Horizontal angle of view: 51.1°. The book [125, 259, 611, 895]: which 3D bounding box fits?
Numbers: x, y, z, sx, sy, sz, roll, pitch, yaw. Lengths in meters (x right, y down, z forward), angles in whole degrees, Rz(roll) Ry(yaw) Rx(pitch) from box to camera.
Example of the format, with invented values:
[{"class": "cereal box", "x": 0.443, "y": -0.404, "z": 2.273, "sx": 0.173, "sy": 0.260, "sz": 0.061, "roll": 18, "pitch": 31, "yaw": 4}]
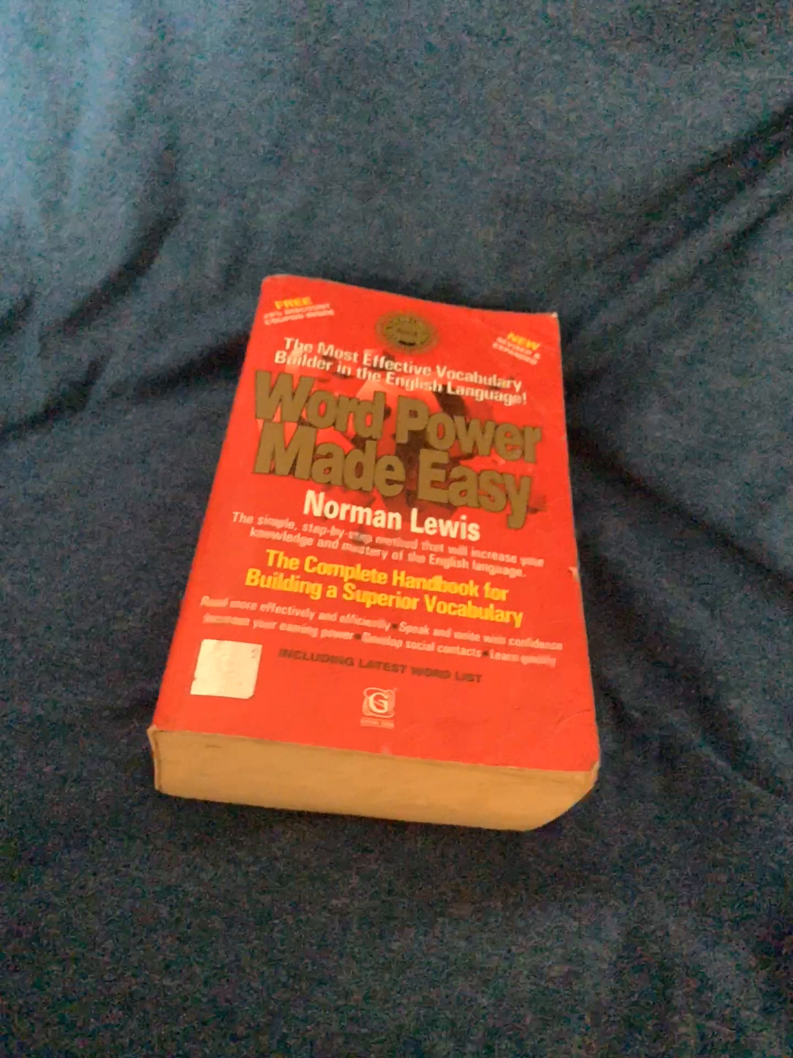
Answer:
[{"class": "book", "x": 0.001, "y": 0.005, "z": 0.275, "sx": 0.120, "sy": 0.050, "sz": 0.191, "roll": 13, "pitch": 55, "yaw": -6}]
